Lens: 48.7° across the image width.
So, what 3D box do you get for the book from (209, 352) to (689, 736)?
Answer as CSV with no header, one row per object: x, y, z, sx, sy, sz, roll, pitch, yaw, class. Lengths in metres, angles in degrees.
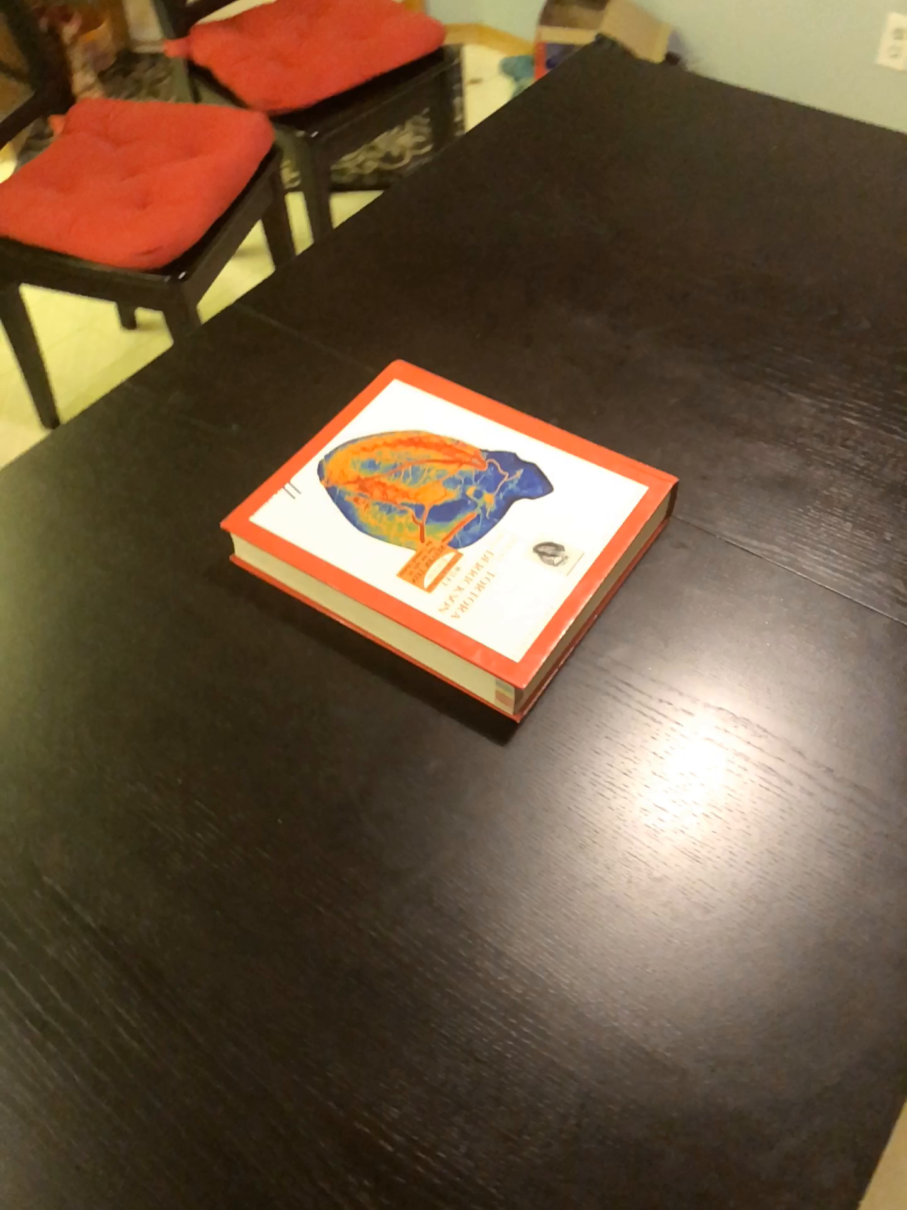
-0.001,-0.068,0.815,0.290,0.050,0.251,28,58,22,book
